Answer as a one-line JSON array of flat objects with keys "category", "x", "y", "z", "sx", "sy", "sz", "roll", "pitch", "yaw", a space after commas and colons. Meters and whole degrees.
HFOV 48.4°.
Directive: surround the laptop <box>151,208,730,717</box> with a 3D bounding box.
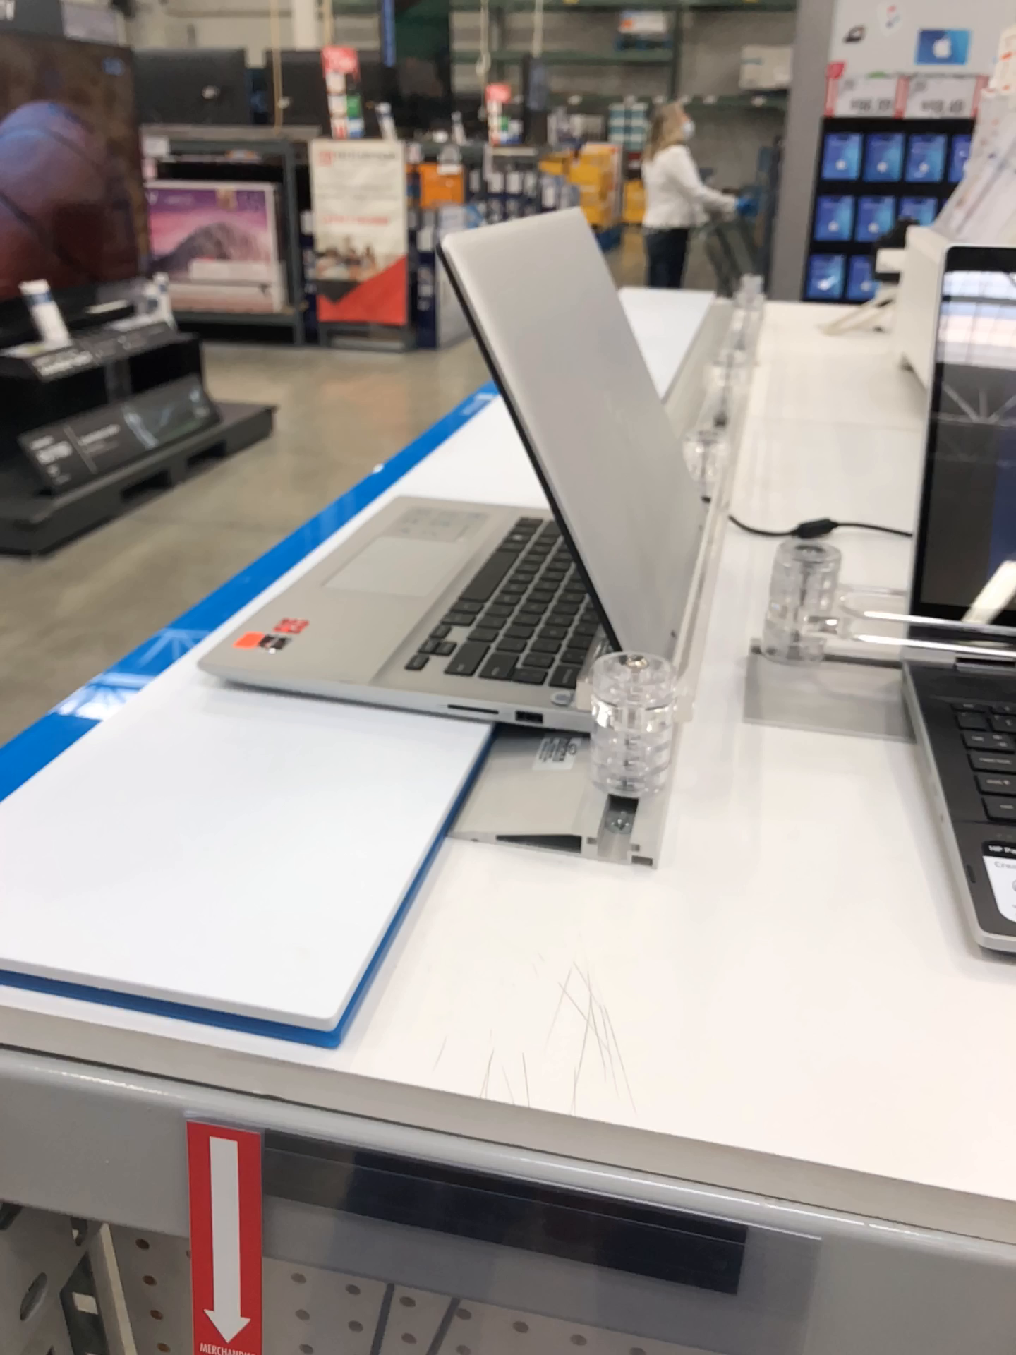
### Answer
[{"category": "laptop", "x": -0.007, "y": -0.149, "z": 0.638, "sx": 0.222, "sy": 0.199, "sz": 0.320, "roll": 7, "pitch": 25, "yaw": 12}]
